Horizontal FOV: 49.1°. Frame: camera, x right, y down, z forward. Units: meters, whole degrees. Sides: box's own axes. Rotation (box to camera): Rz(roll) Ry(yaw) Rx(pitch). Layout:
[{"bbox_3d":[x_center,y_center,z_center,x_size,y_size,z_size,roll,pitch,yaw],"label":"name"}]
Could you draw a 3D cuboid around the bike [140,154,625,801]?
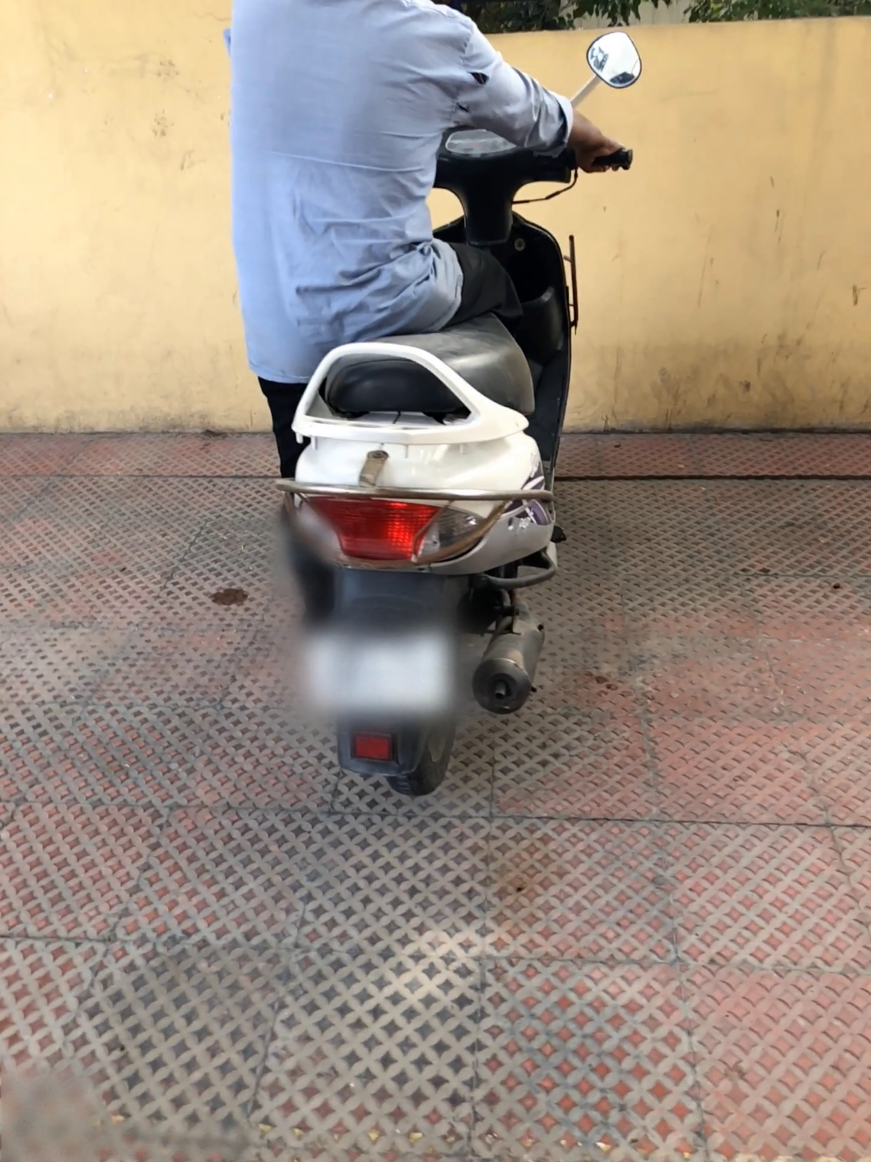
[{"bbox_3d":[0.077,-0.404,2.078,0.598,0.816,1.620,3,29,10],"label":"bike"}]
